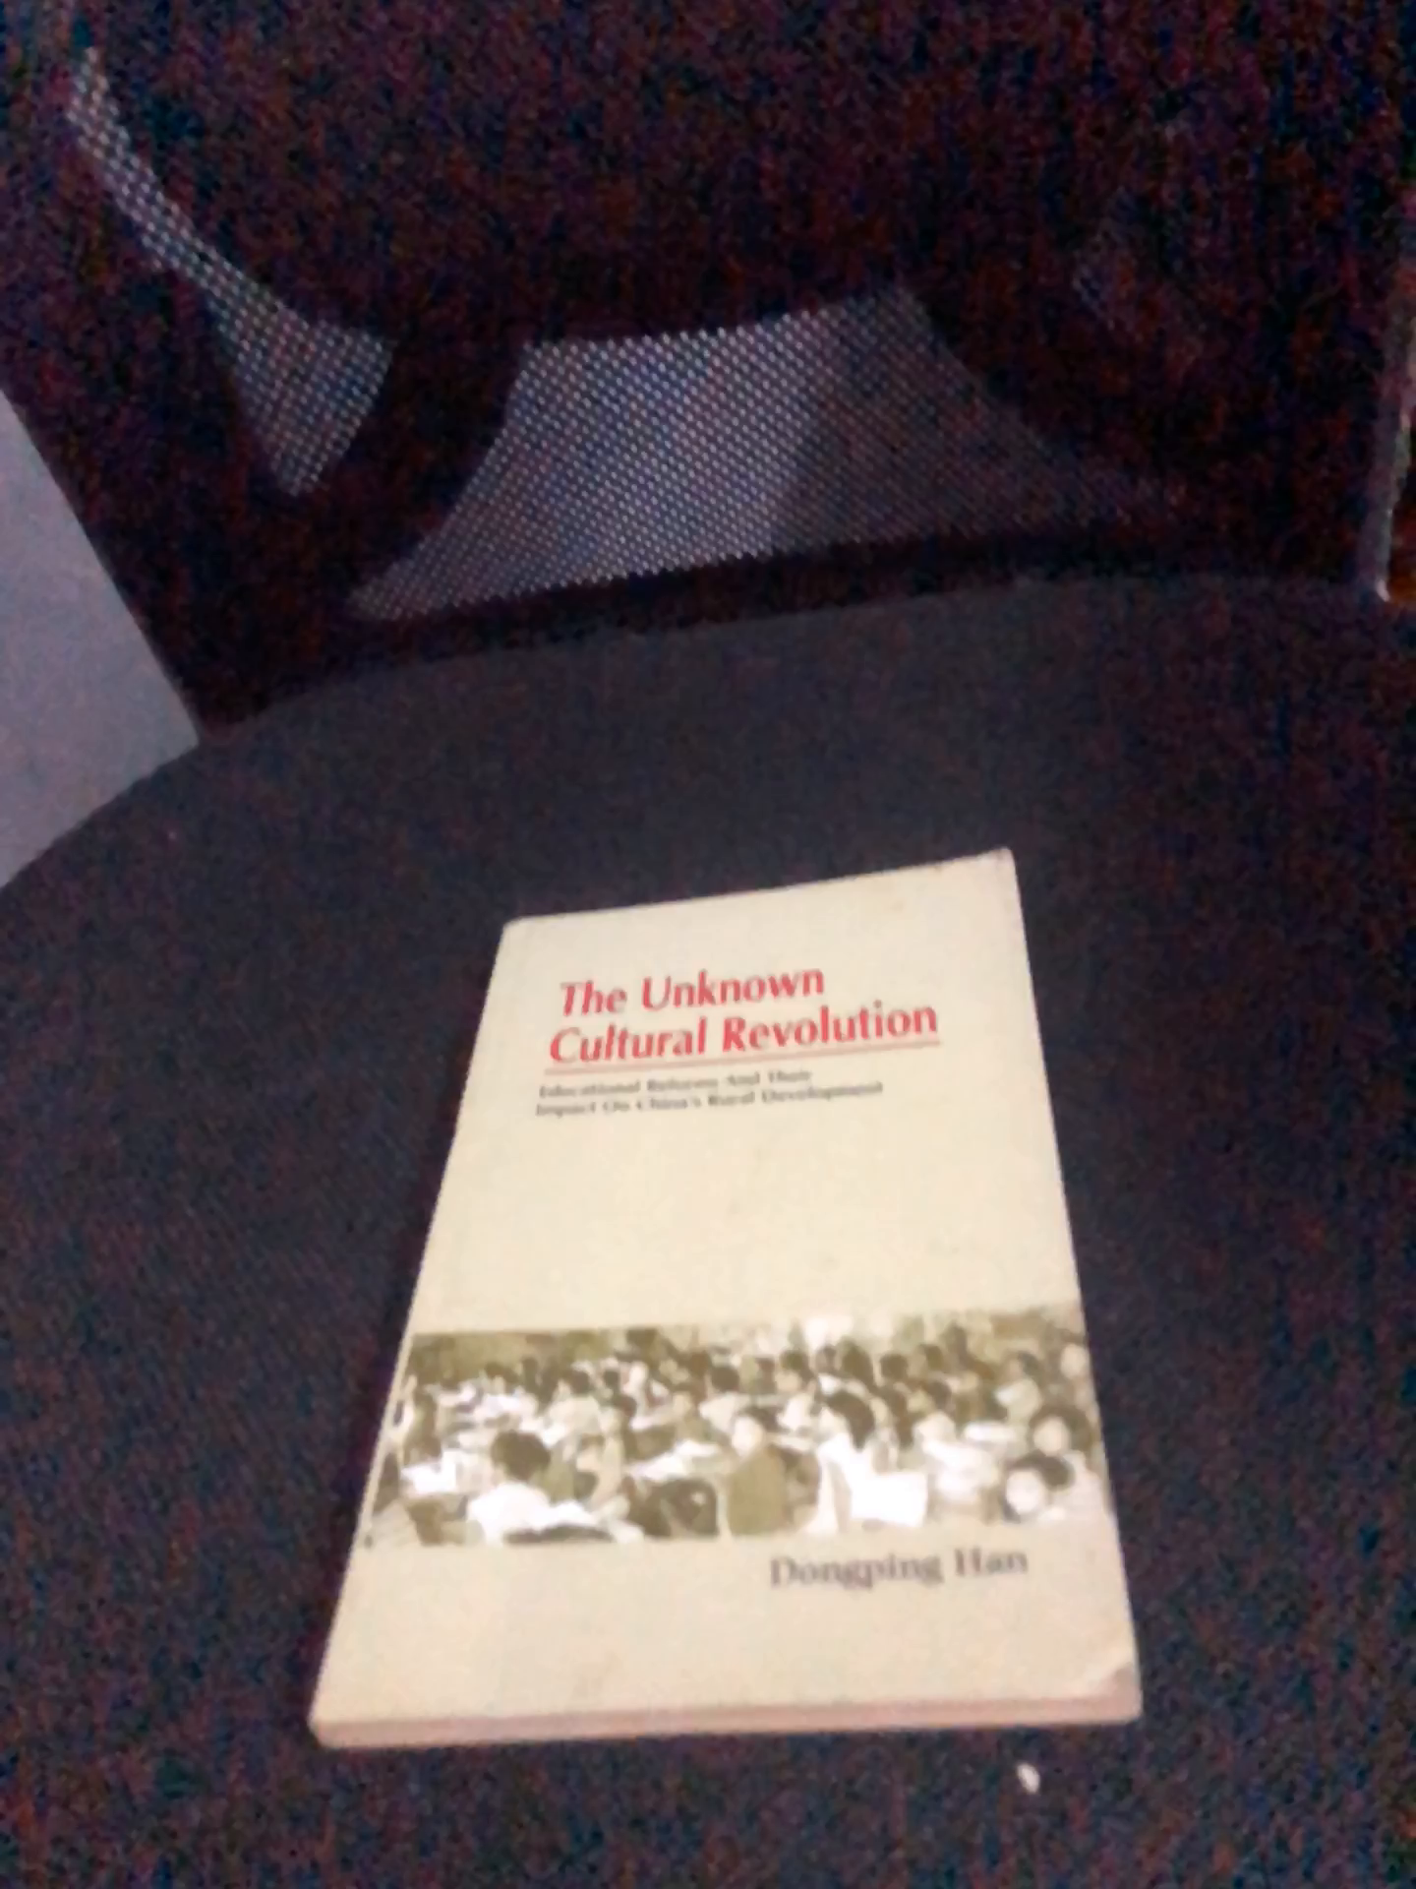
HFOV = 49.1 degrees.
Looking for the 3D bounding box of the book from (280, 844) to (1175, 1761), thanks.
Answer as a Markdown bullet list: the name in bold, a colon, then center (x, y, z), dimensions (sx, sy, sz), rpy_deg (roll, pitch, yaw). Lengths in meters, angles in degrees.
- **book**: center (0.007, 0.062, 0.345), dimensions (0.154, 0.017, 0.215), rpy_deg (-6, 43, 10)
